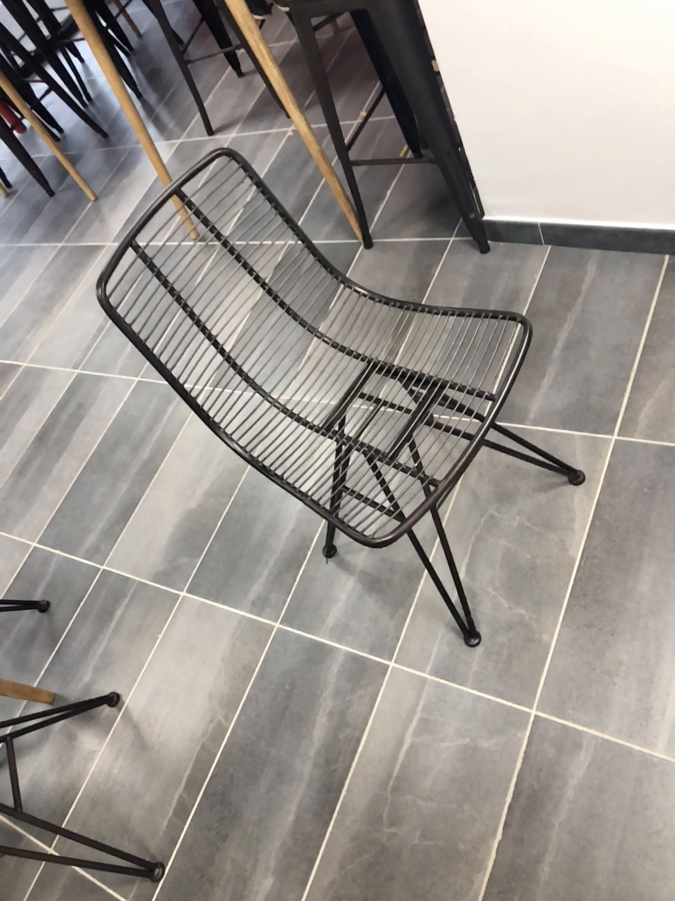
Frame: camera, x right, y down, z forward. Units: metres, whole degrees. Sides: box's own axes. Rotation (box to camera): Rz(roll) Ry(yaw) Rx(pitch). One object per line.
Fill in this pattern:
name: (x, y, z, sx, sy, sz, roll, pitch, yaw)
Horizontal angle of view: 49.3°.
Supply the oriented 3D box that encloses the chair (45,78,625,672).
chair: (0.073, -0.098, 1.237, 0.521, 0.787, 0.501, 26, 72, 38)
